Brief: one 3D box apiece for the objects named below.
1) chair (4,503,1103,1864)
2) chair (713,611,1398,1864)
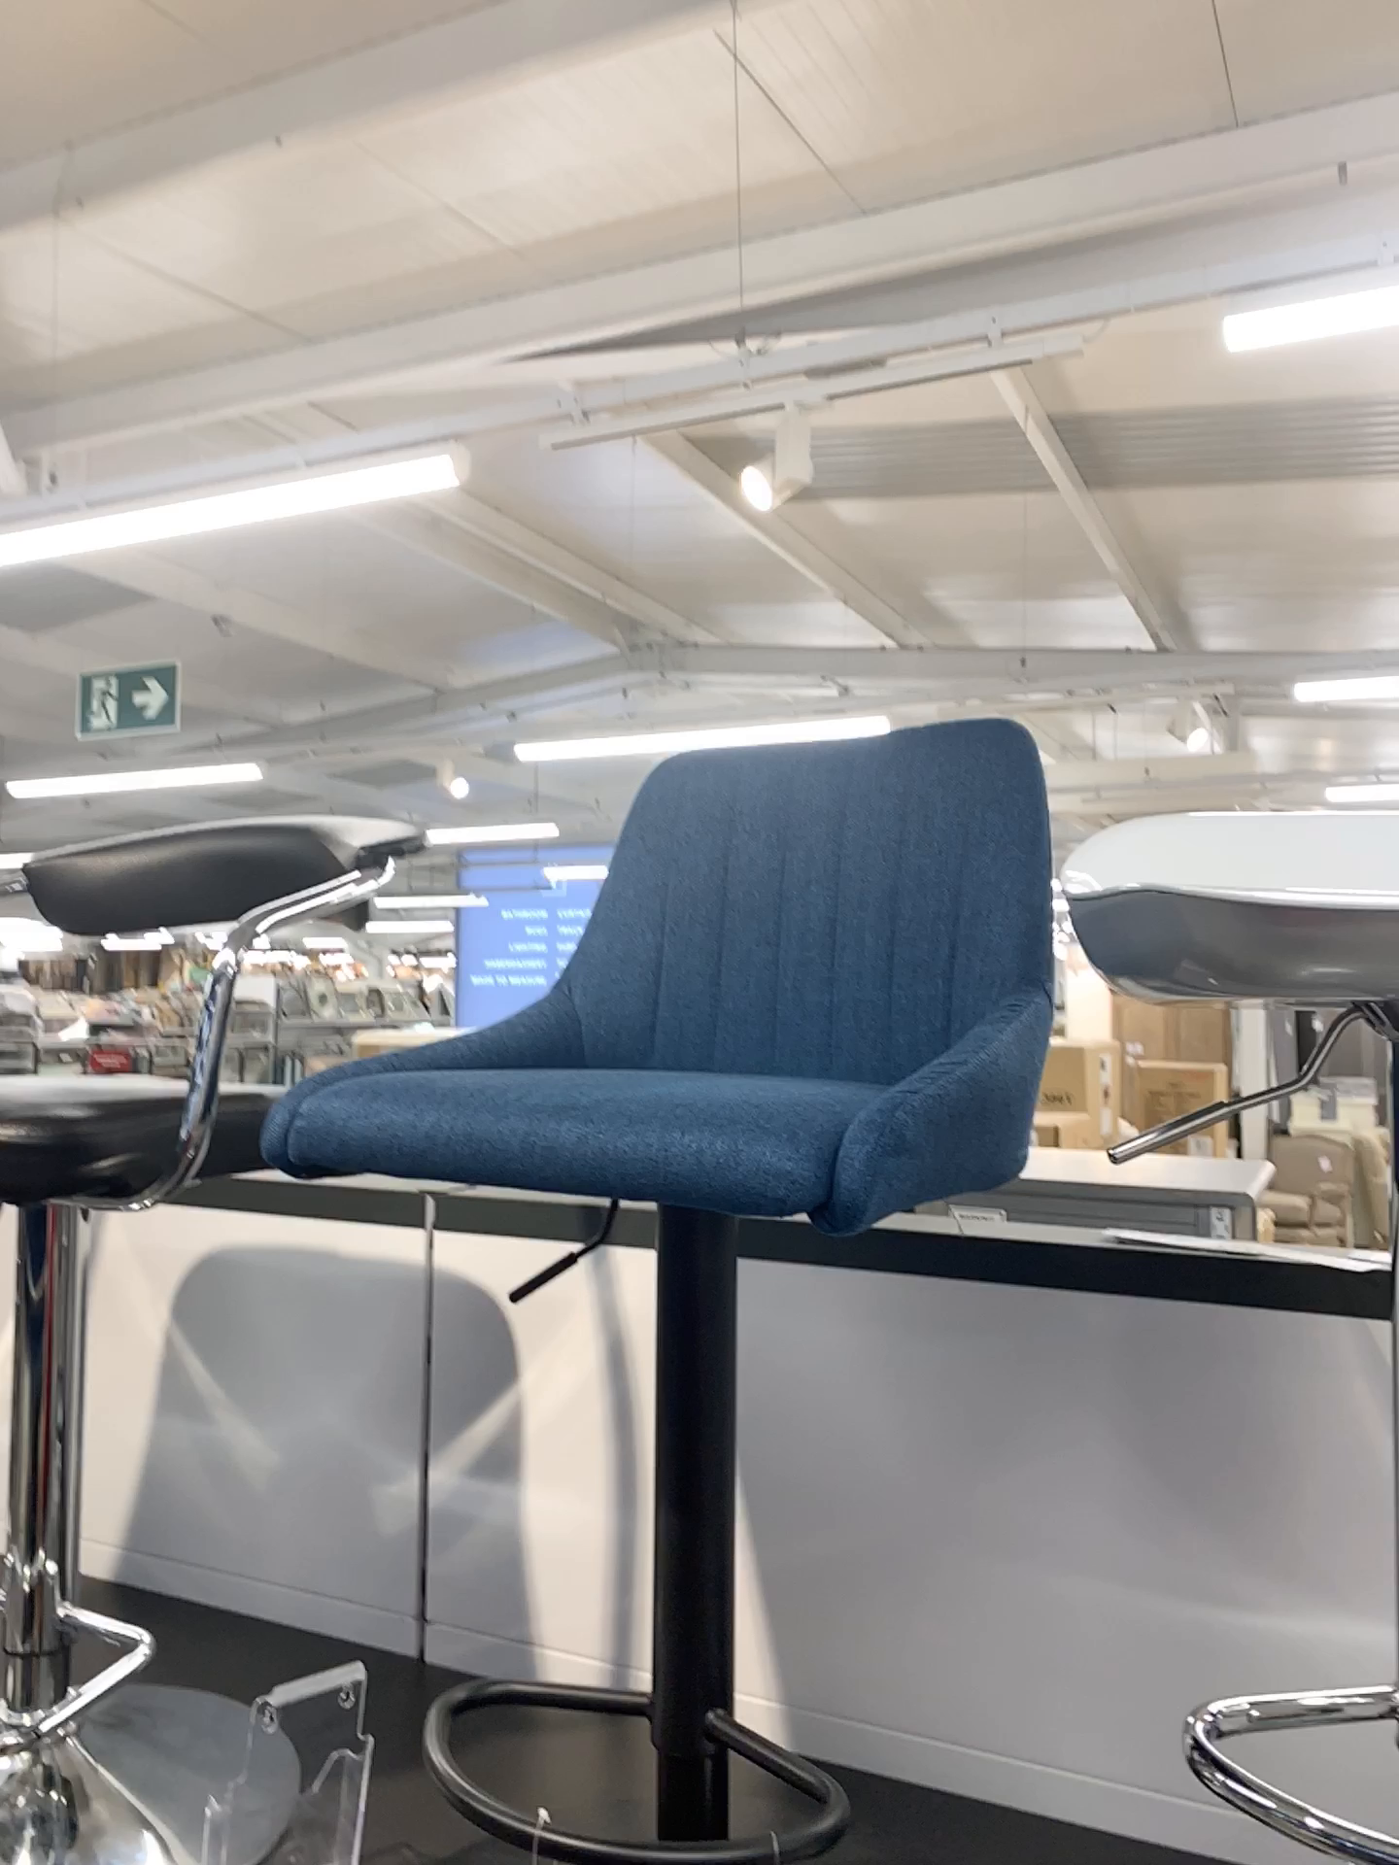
[{"bbox_3d":[-0.048,0.250,0.976,0.539,0.873,0.507,-1,-4,25],"label":"chair"},{"bbox_3d":[0.277,0.280,0.729,0.409,0.763,0.387,-1,-4,25],"label":"chair"}]
